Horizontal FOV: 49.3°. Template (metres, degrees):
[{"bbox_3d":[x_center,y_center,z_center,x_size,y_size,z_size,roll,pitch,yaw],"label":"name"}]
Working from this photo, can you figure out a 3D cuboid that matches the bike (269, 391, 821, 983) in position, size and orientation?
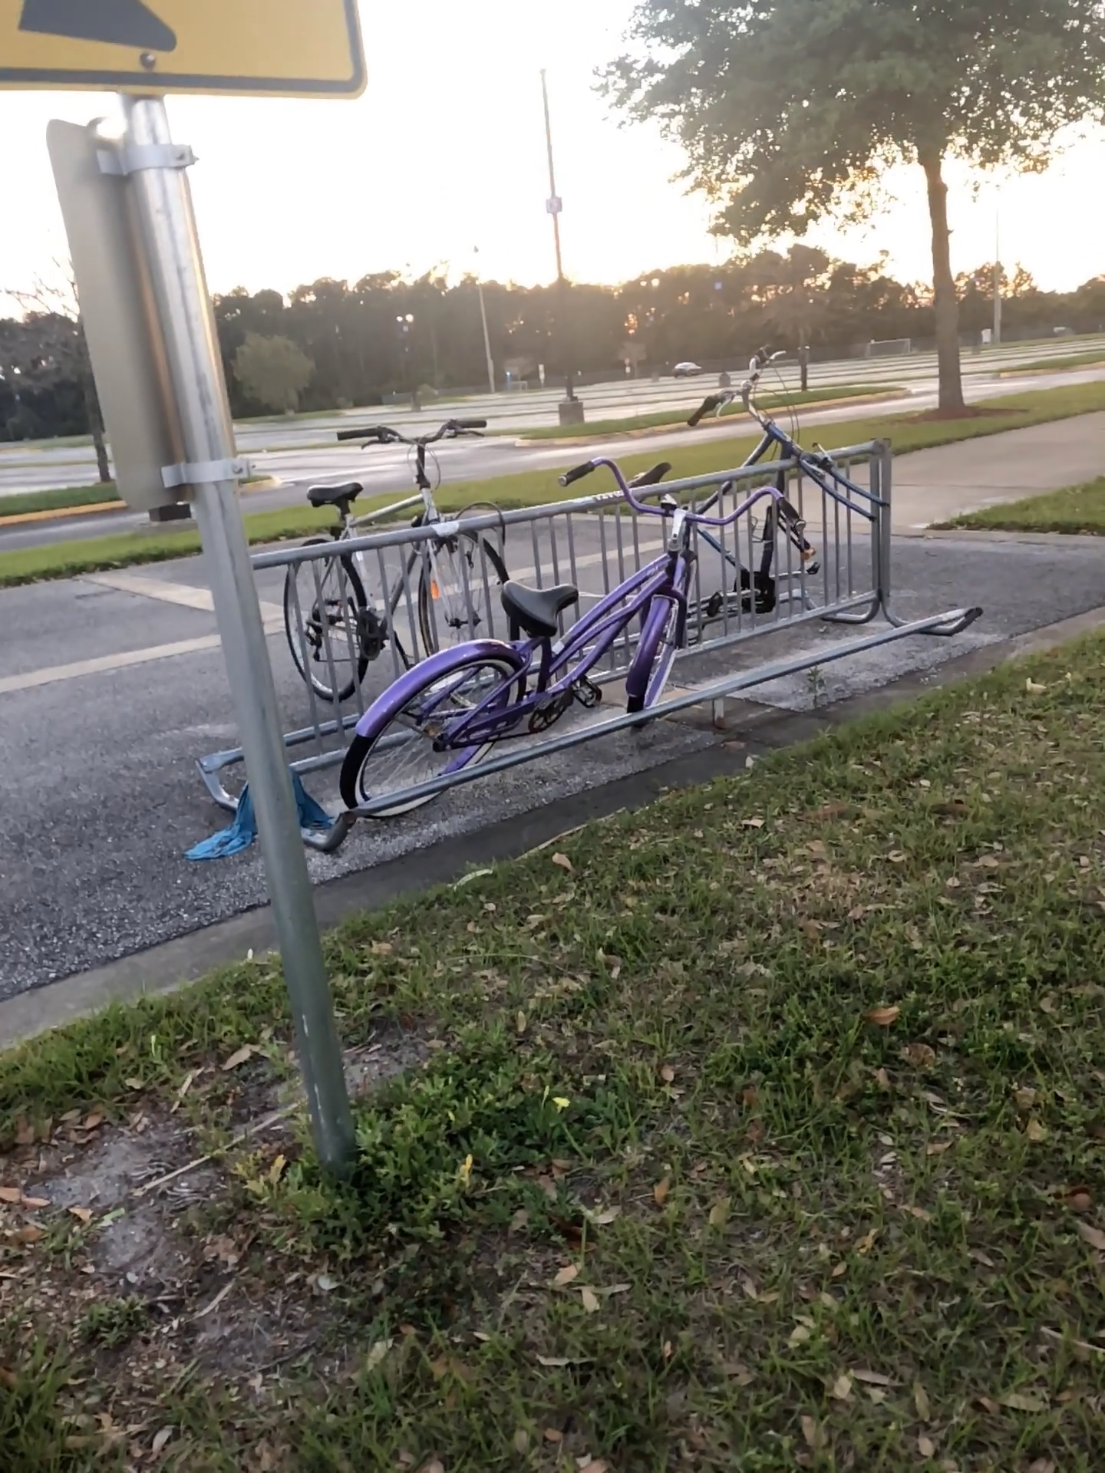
[{"bbox_3d":[0.072,-0.317,3.721,0.850,1.117,1.706,8,25,41],"label":"bike"}]
